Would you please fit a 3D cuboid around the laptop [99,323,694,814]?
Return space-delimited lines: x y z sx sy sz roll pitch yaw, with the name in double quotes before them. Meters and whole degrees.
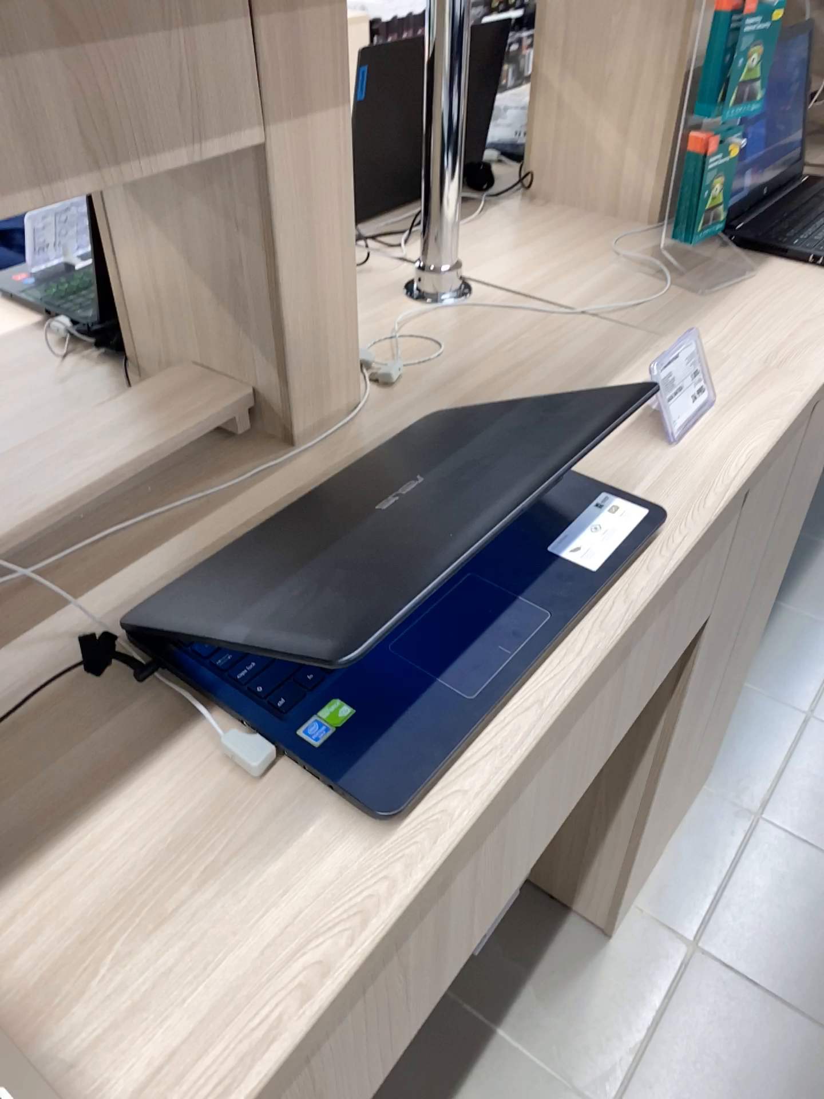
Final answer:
"laptop" 0.012 -0.028 0.629 0.236 0.098 0.387 27 45 27
